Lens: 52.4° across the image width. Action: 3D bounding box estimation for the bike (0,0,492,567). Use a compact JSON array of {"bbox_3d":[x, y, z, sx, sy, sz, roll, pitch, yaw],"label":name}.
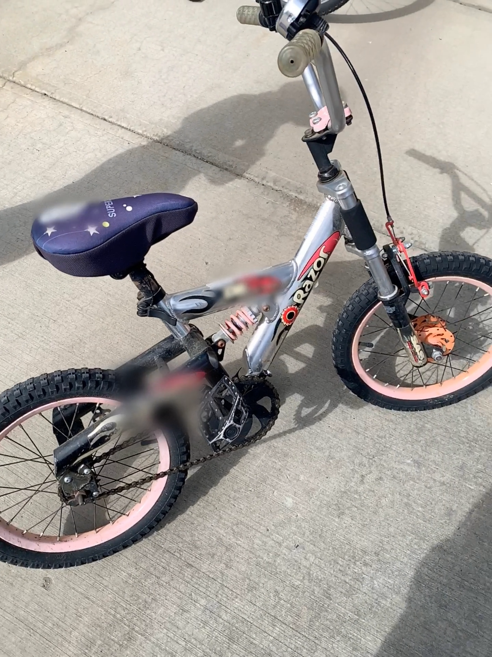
[{"bbox_3d":[0.012,-0.111,0.843,1.123,0.692,0.359,-21,58,-18],"label":"bike"}]
